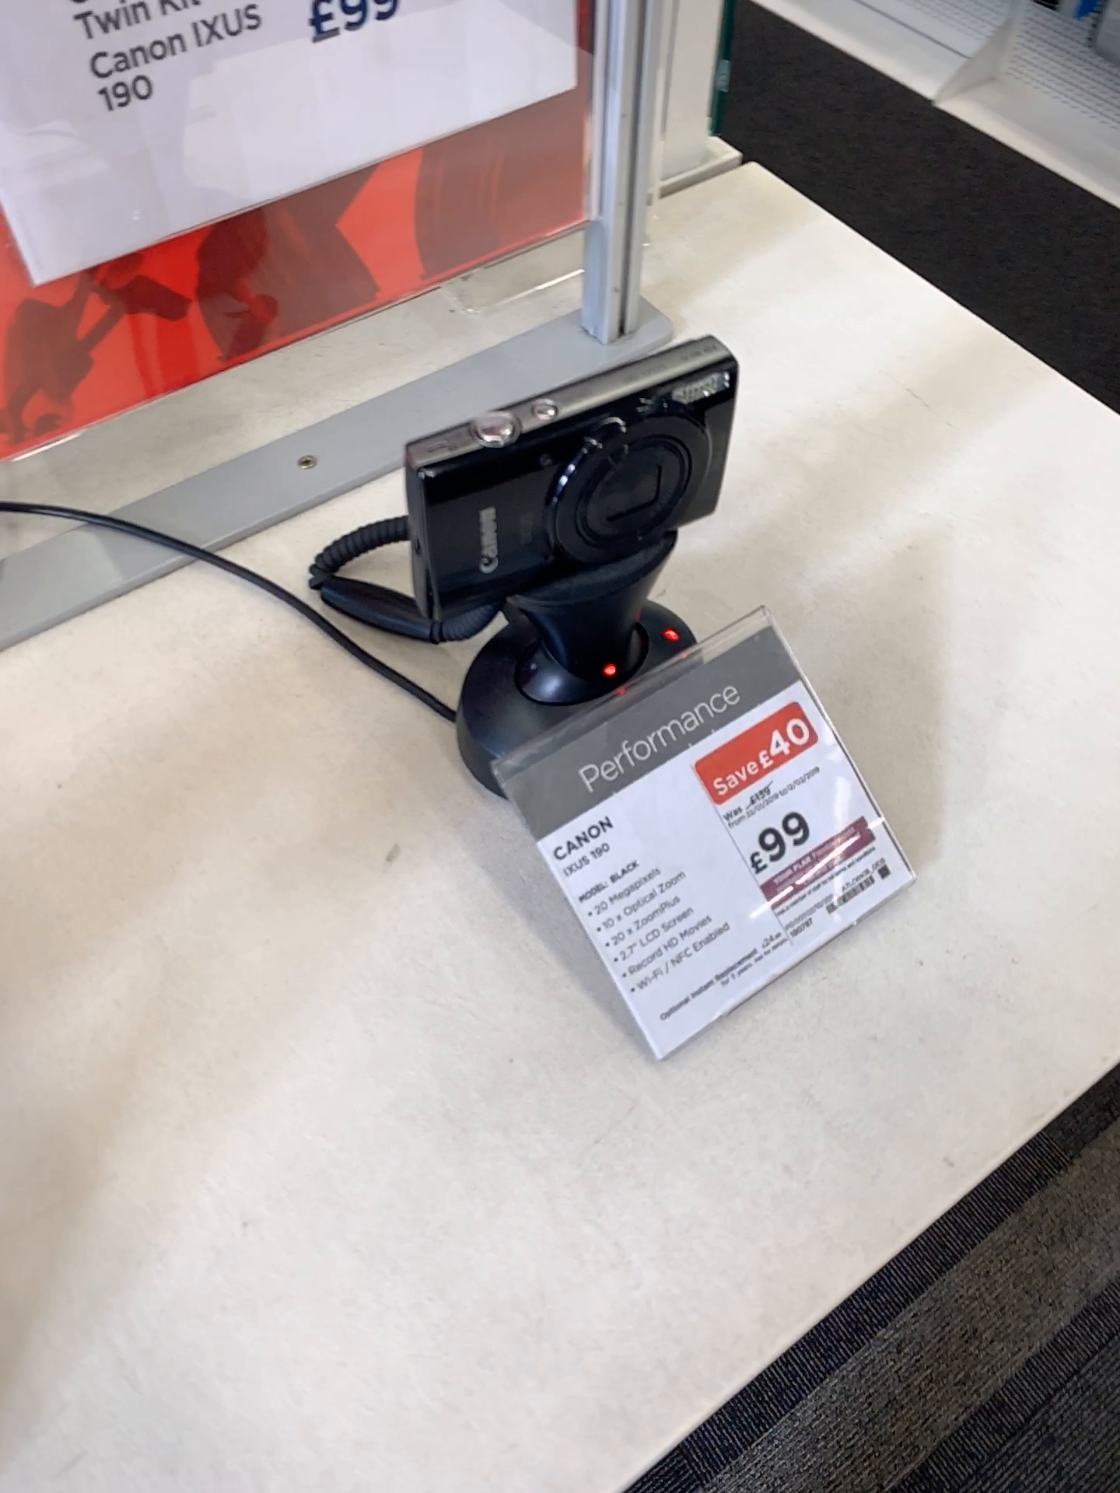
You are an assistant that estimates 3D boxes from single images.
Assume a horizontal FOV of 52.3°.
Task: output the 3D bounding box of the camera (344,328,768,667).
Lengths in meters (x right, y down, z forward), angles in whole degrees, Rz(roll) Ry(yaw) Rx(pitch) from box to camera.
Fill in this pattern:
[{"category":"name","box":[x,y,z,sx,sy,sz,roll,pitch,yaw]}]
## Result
[{"category":"camera","box":[0.000,-0.065,0.296,0.100,0.050,0.030,-24,59,-16]}]
